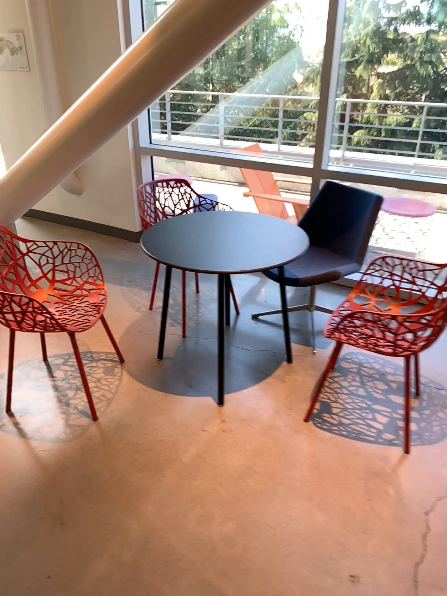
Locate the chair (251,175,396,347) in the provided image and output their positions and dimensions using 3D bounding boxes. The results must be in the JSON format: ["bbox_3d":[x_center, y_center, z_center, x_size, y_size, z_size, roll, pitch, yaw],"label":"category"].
[{"bbox_3d":[0.538,-0.245,2.676,0.510,0.766,0.563,-14,31,-26],"label":"chair"}]

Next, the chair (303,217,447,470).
[{"bbox_3d":[0.731,0.148,1.937,0.561,0.766,0.552,15,31,26],"label":"chair"}]

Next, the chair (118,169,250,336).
[{"bbox_3d":[-0.233,-0.302,2.741,0.560,0.766,0.533,-15,31,-27],"label":"chair"}]

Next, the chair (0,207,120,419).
[{"bbox_3d":[-0.861,0.045,2.118,0.530,0.766,0.563,4,28,6],"label":"chair"}]
